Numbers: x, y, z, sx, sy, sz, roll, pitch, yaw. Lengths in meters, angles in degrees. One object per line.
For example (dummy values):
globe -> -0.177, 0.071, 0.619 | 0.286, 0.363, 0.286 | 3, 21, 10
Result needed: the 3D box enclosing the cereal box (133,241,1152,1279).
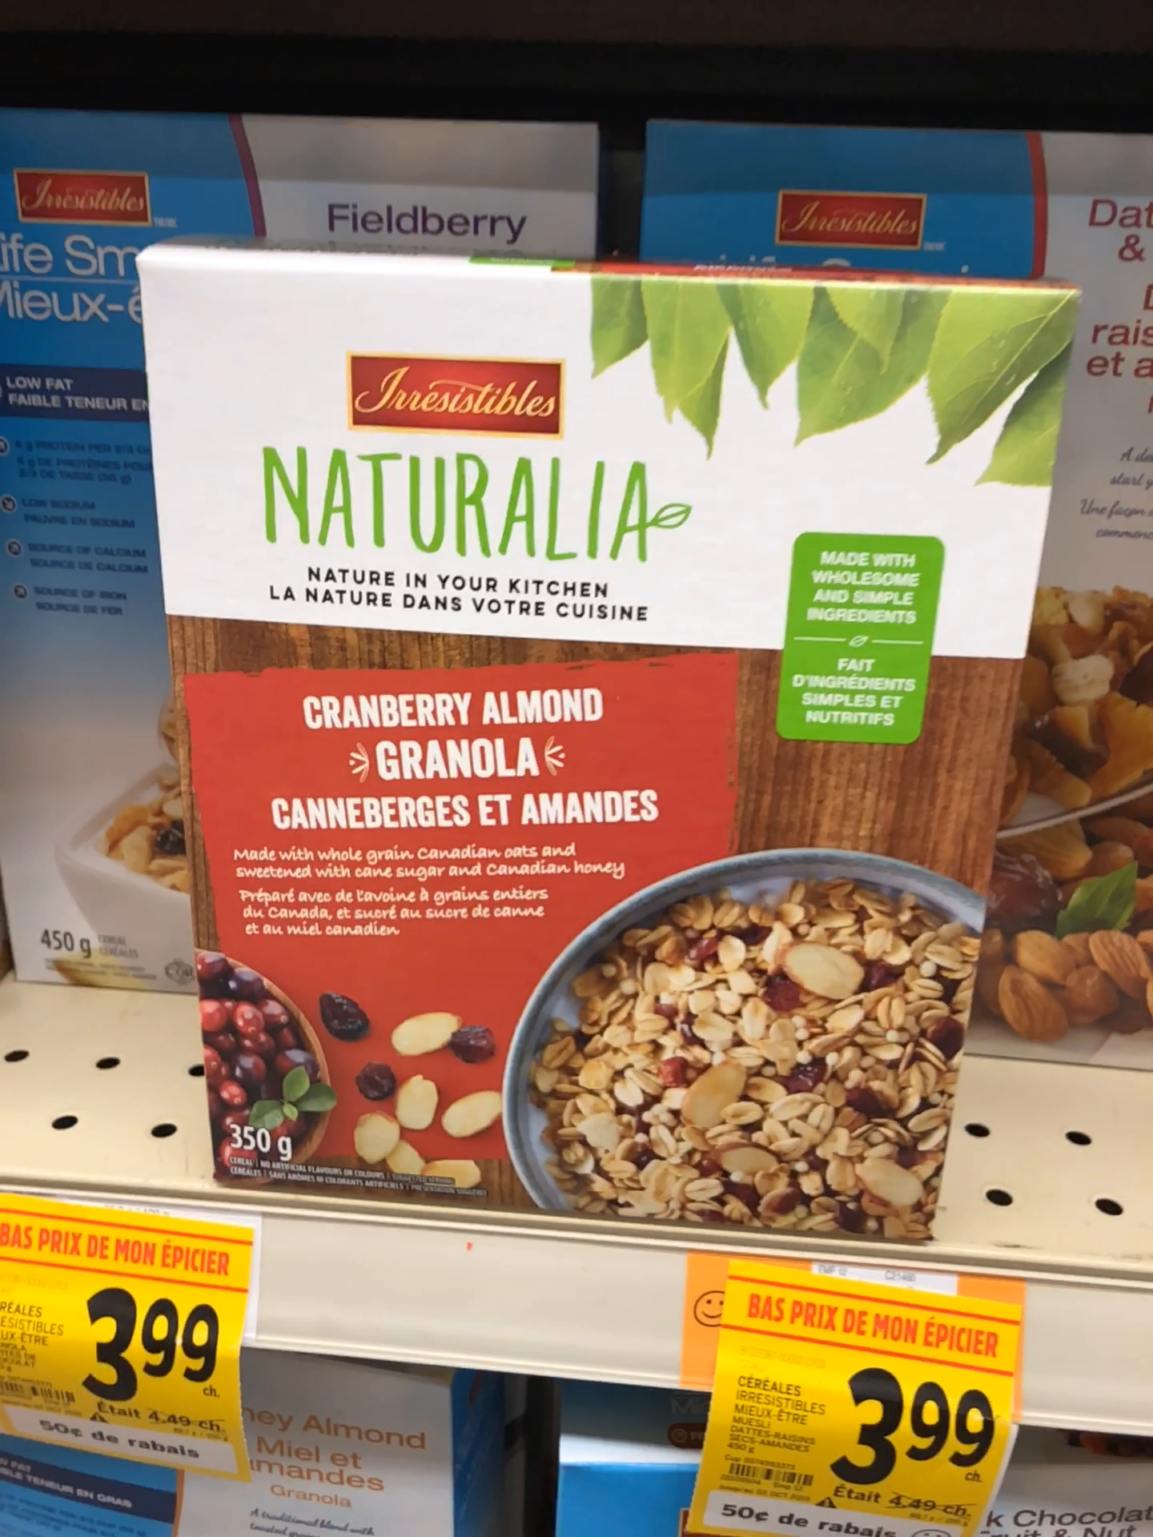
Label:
cereal box -> 0.008, 0.001, 0.281 | 0.170, 0.209, 0.060 | 4, 23, 4
